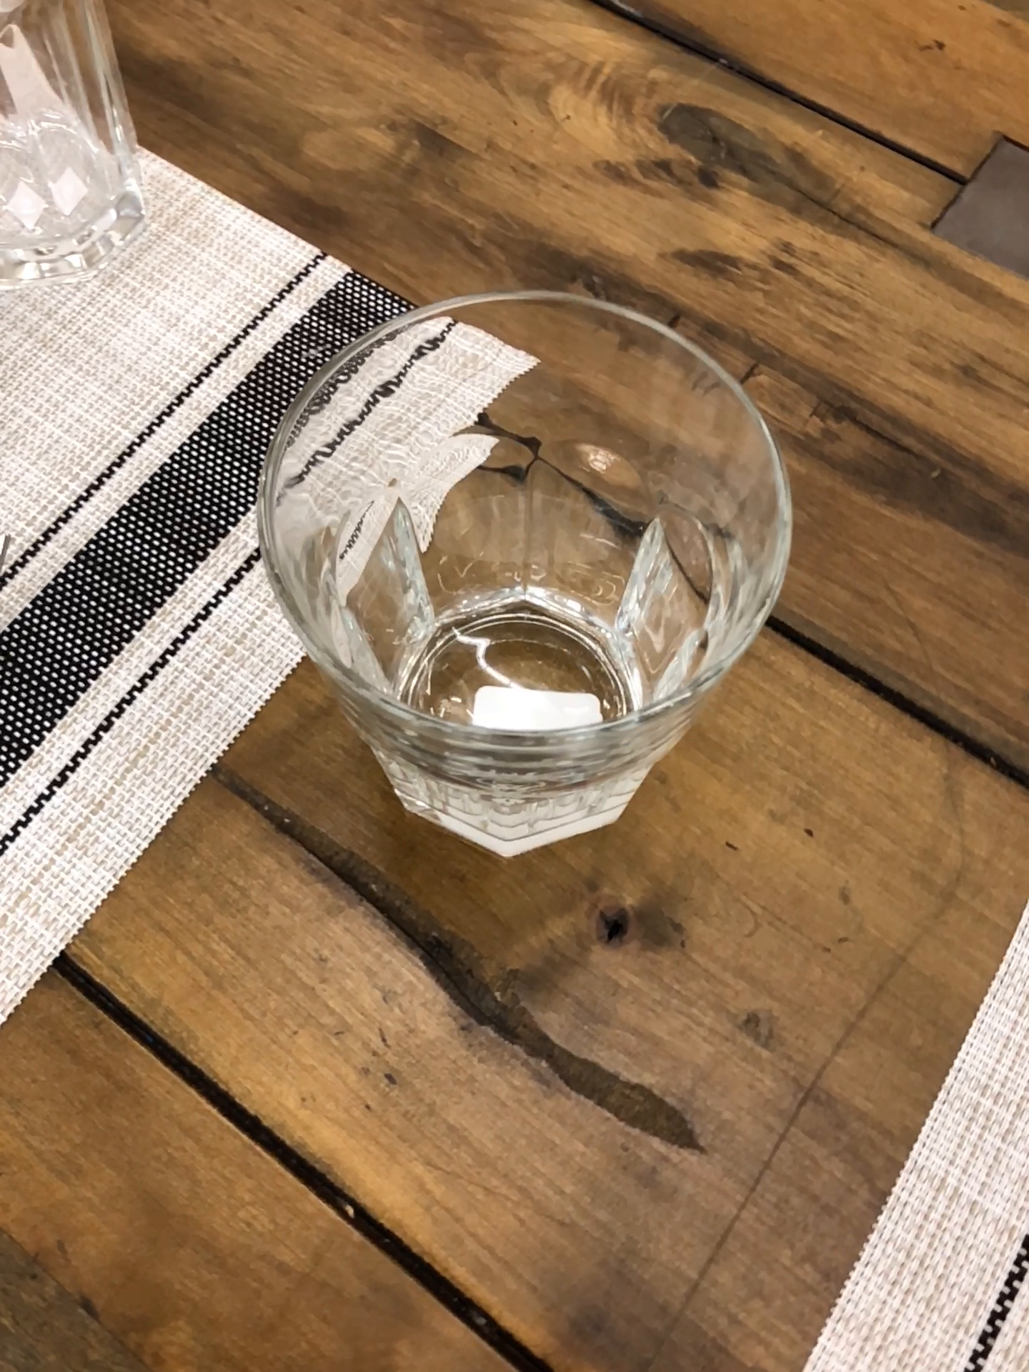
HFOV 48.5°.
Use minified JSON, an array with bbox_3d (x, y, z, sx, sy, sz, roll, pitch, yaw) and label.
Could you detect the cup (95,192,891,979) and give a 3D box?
[{"bbox_3d":[-0.004,-0.015,0.216,0.090,0.081,0.087,0,65,0],"label":"cup"}]
